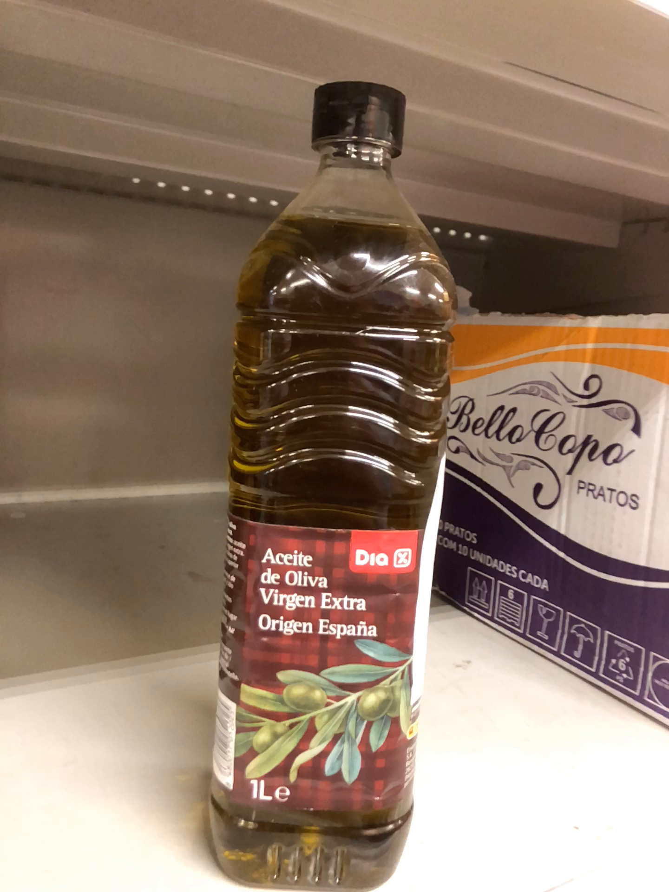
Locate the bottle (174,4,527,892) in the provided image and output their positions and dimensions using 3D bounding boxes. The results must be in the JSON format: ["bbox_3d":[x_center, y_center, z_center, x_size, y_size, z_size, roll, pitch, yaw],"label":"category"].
[{"bbox_3d":[-0.001,0.013,0.263,0.080,0.279,0.070,5,9,-4],"label":"bottle"}]
